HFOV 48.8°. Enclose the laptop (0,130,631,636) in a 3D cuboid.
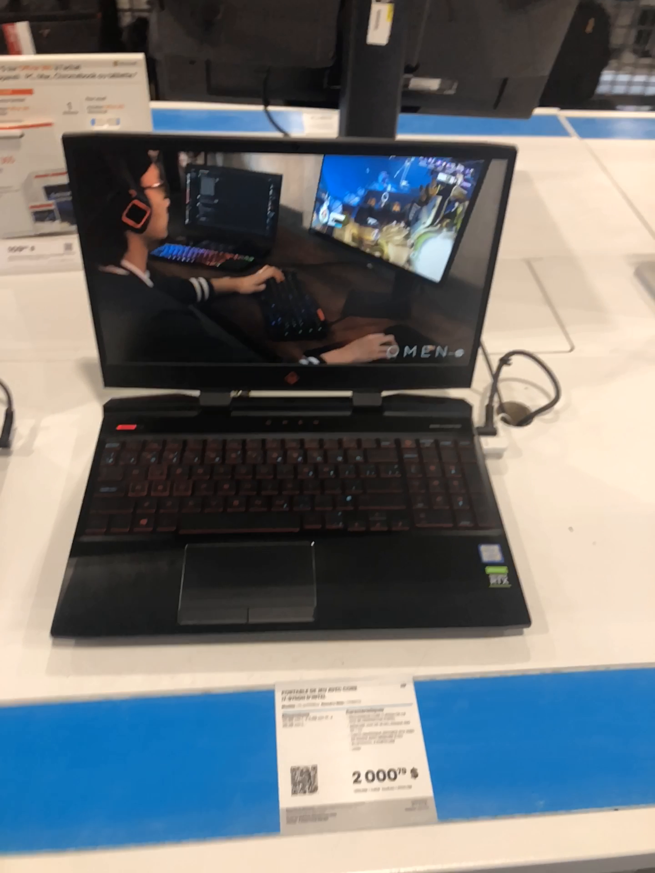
[{"bbox_3d":[-0.025,-0.049,0.562,0.355,0.239,0.294,0,46,-5],"label":"laptop"}]
